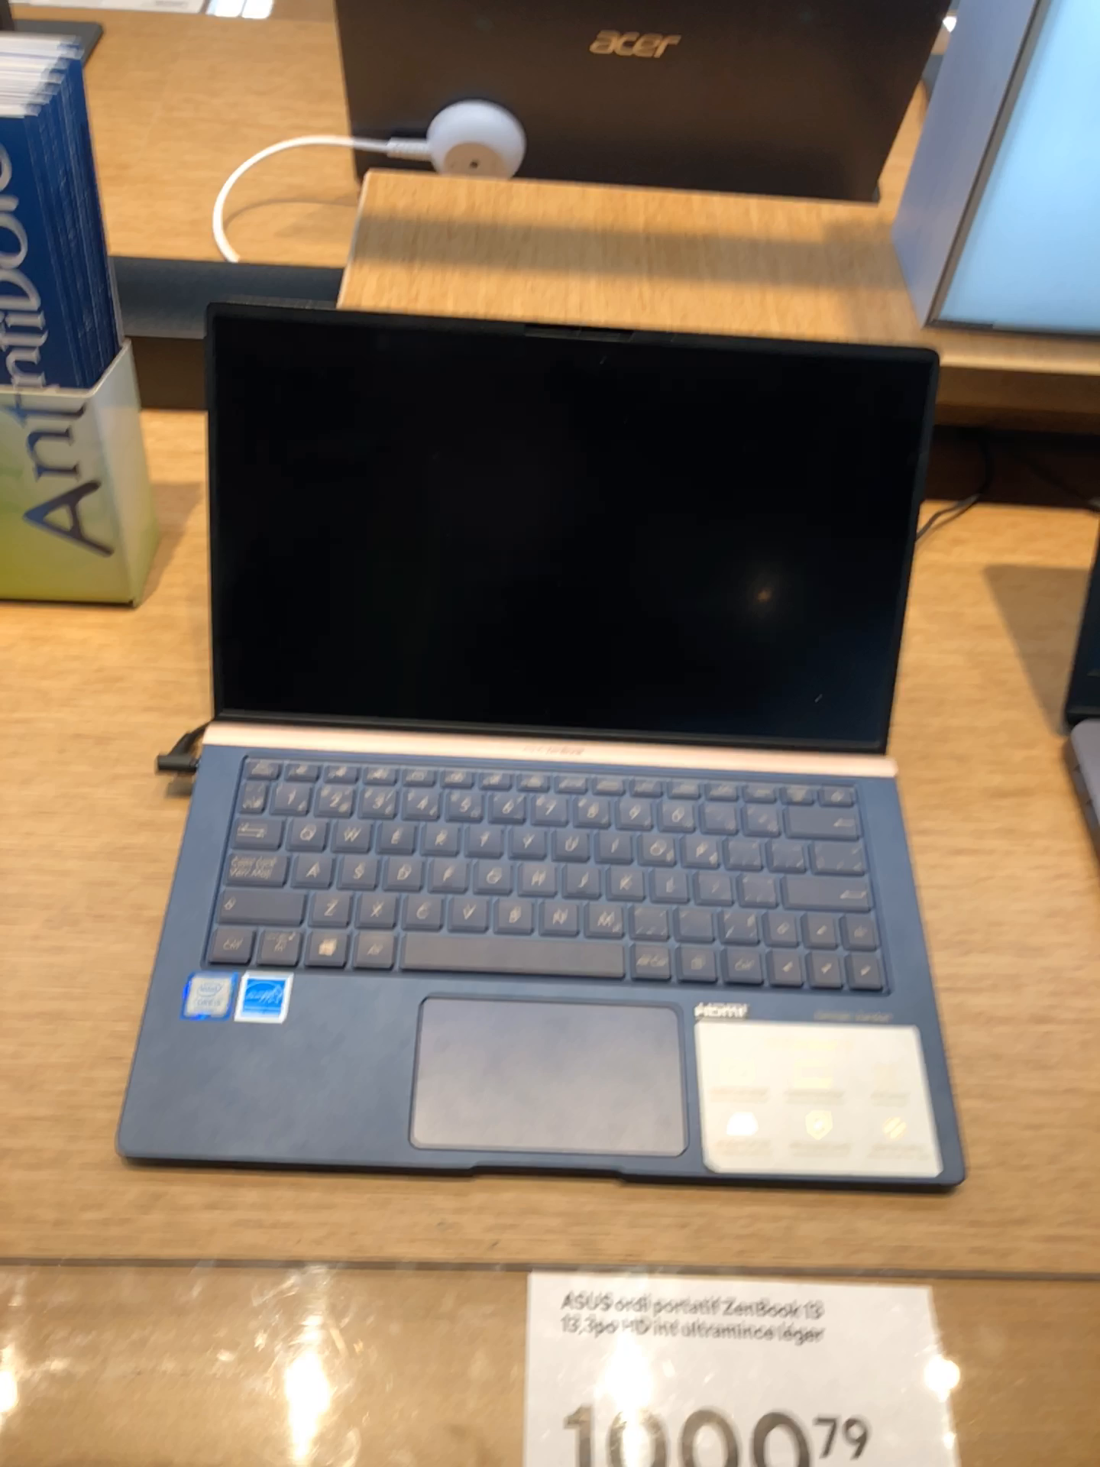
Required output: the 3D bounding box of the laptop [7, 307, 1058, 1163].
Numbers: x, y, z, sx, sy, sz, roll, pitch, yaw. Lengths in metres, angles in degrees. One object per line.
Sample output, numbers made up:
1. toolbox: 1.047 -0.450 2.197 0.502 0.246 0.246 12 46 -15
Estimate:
1. laptop: 0.000 -0.008 0.449 0.276 0.130 0.277 3 55 -1
